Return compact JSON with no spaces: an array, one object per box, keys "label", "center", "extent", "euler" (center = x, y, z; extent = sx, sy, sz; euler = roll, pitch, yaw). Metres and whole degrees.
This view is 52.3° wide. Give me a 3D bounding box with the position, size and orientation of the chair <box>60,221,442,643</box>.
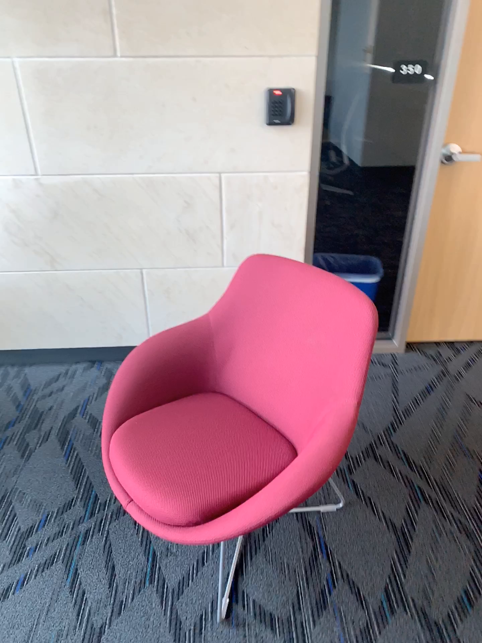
[{"label":"chair","center":[0.002,0.236,1.357],"extent":[0.612,0.754,0.693],"euler":[-22,36,-34]}]
